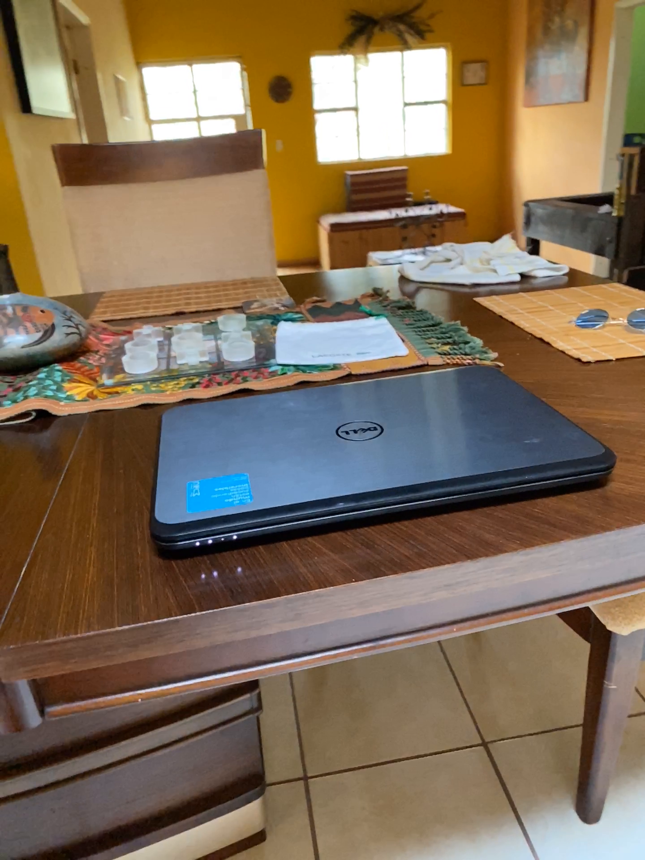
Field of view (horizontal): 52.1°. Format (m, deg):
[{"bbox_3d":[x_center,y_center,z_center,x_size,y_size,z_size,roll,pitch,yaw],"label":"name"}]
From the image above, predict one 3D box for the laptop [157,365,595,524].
[{"bbox_3d":[0.027,-0.003,0.623,0.352,0.001,0.249,-8,24,-9],"label":"laptop"}]
